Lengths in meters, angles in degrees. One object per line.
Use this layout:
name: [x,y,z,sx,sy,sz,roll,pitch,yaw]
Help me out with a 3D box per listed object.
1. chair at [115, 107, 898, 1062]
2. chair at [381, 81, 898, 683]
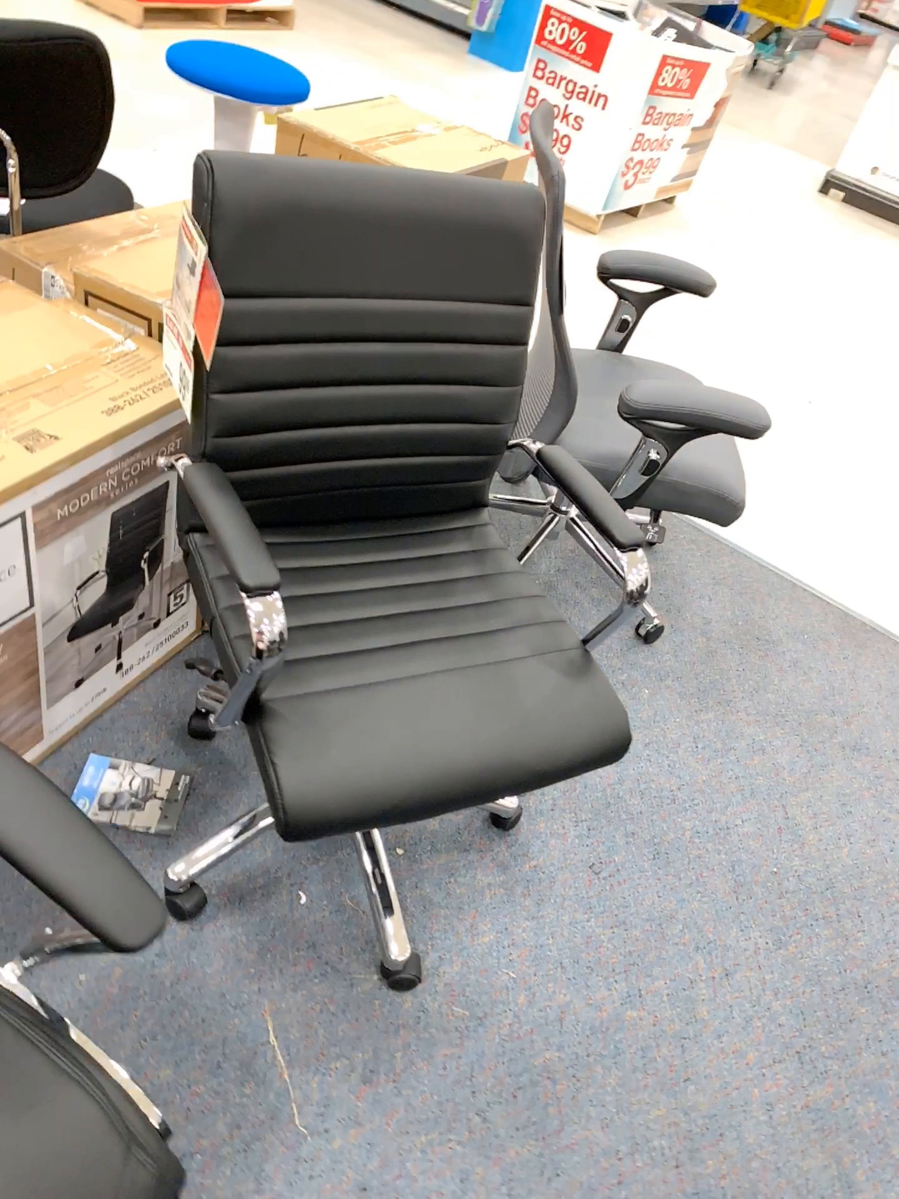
chair: [-0.055,0.000,1.235,0.655,0.953,0.652,-7,46,-26]
chair: [0.327,-0.452,1.954,0.719,0.874,0.738,12,40,-6]
